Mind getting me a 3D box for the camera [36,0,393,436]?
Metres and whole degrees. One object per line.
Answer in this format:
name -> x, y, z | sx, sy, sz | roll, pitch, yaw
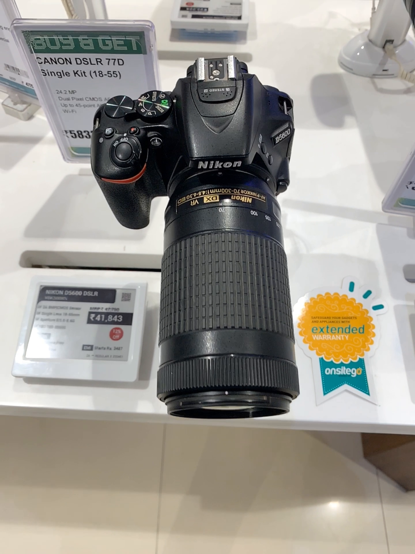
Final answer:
camera -> 0.001, -0.059, 0.259 | 0.130, 0.080, 0.280 | -1, 61, 0
